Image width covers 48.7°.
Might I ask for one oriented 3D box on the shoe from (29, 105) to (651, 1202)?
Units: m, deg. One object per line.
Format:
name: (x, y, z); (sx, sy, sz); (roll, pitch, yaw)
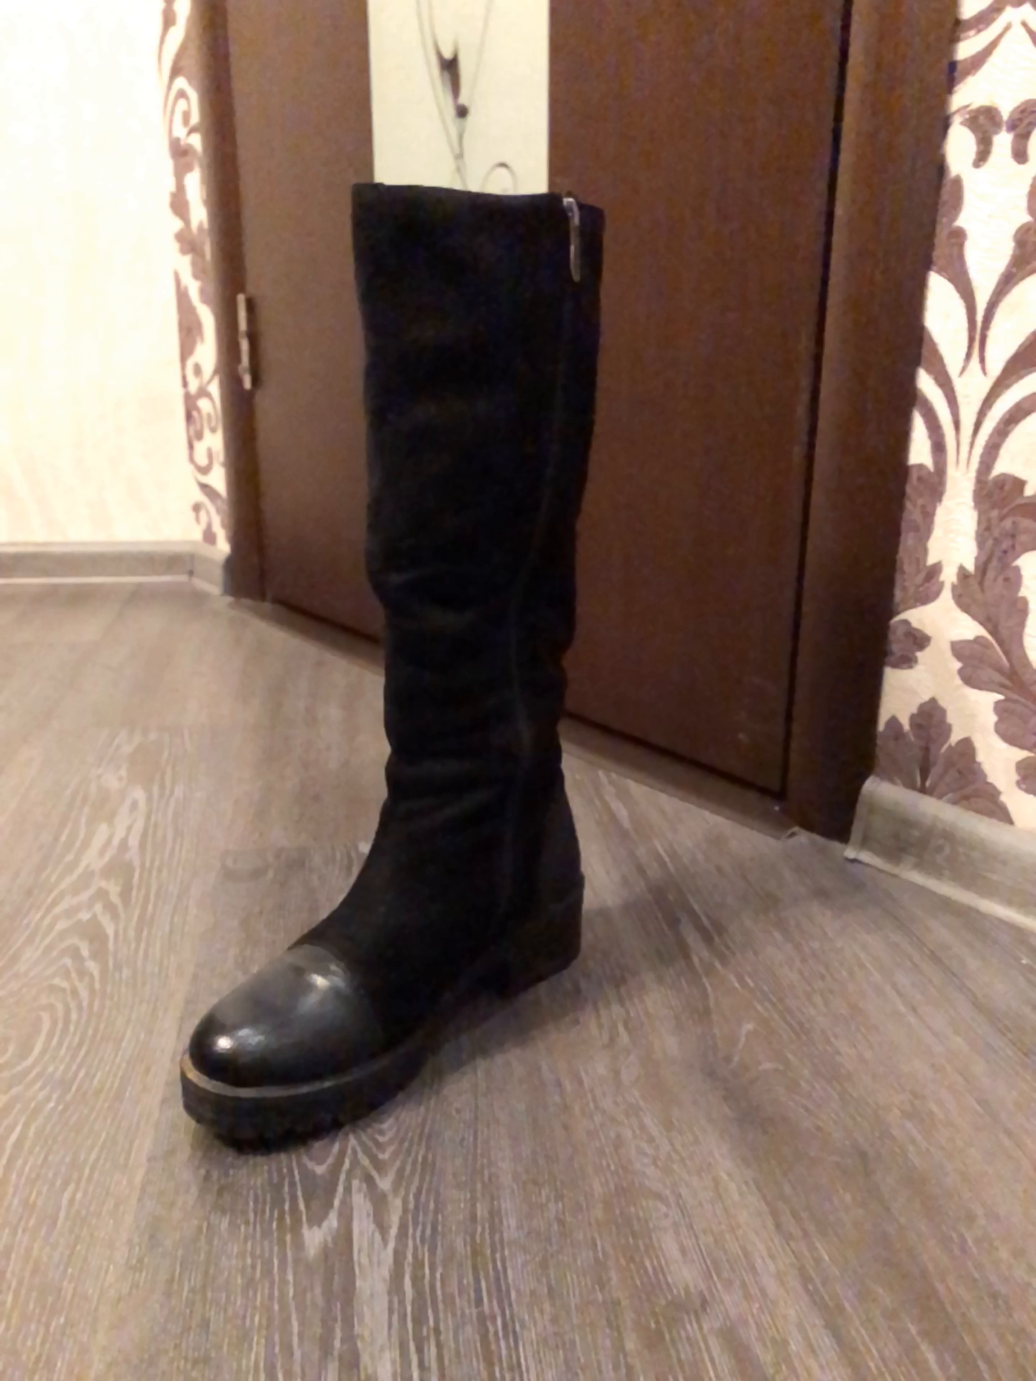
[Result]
shoe: (-0.056, -0.024, 0.532); (0.100, 0.408, 0.251); (14, 23, 37)
